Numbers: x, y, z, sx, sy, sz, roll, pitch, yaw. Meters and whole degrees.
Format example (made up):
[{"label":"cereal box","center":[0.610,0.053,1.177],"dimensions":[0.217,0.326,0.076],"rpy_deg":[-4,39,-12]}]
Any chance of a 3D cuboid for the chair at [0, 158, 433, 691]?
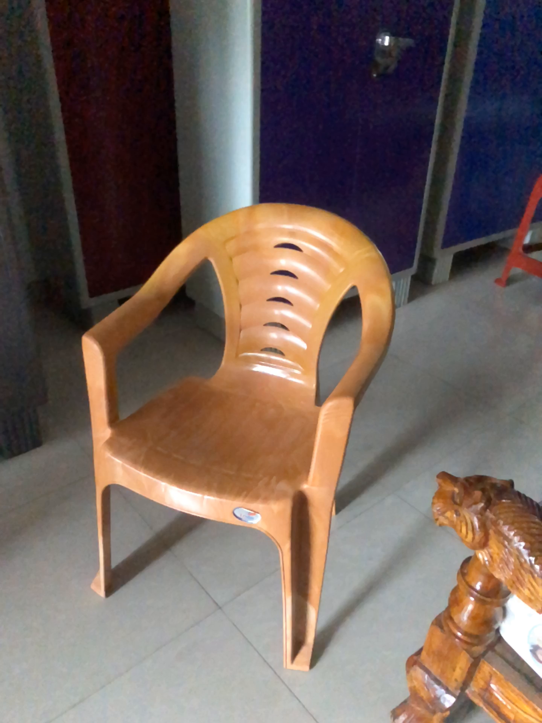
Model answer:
[{"label":"chair","center":[-0.068,0.081,1.299],"dimensions":[0.630,0.845,0.603],"rpy_deg":[11,32,18]}]
